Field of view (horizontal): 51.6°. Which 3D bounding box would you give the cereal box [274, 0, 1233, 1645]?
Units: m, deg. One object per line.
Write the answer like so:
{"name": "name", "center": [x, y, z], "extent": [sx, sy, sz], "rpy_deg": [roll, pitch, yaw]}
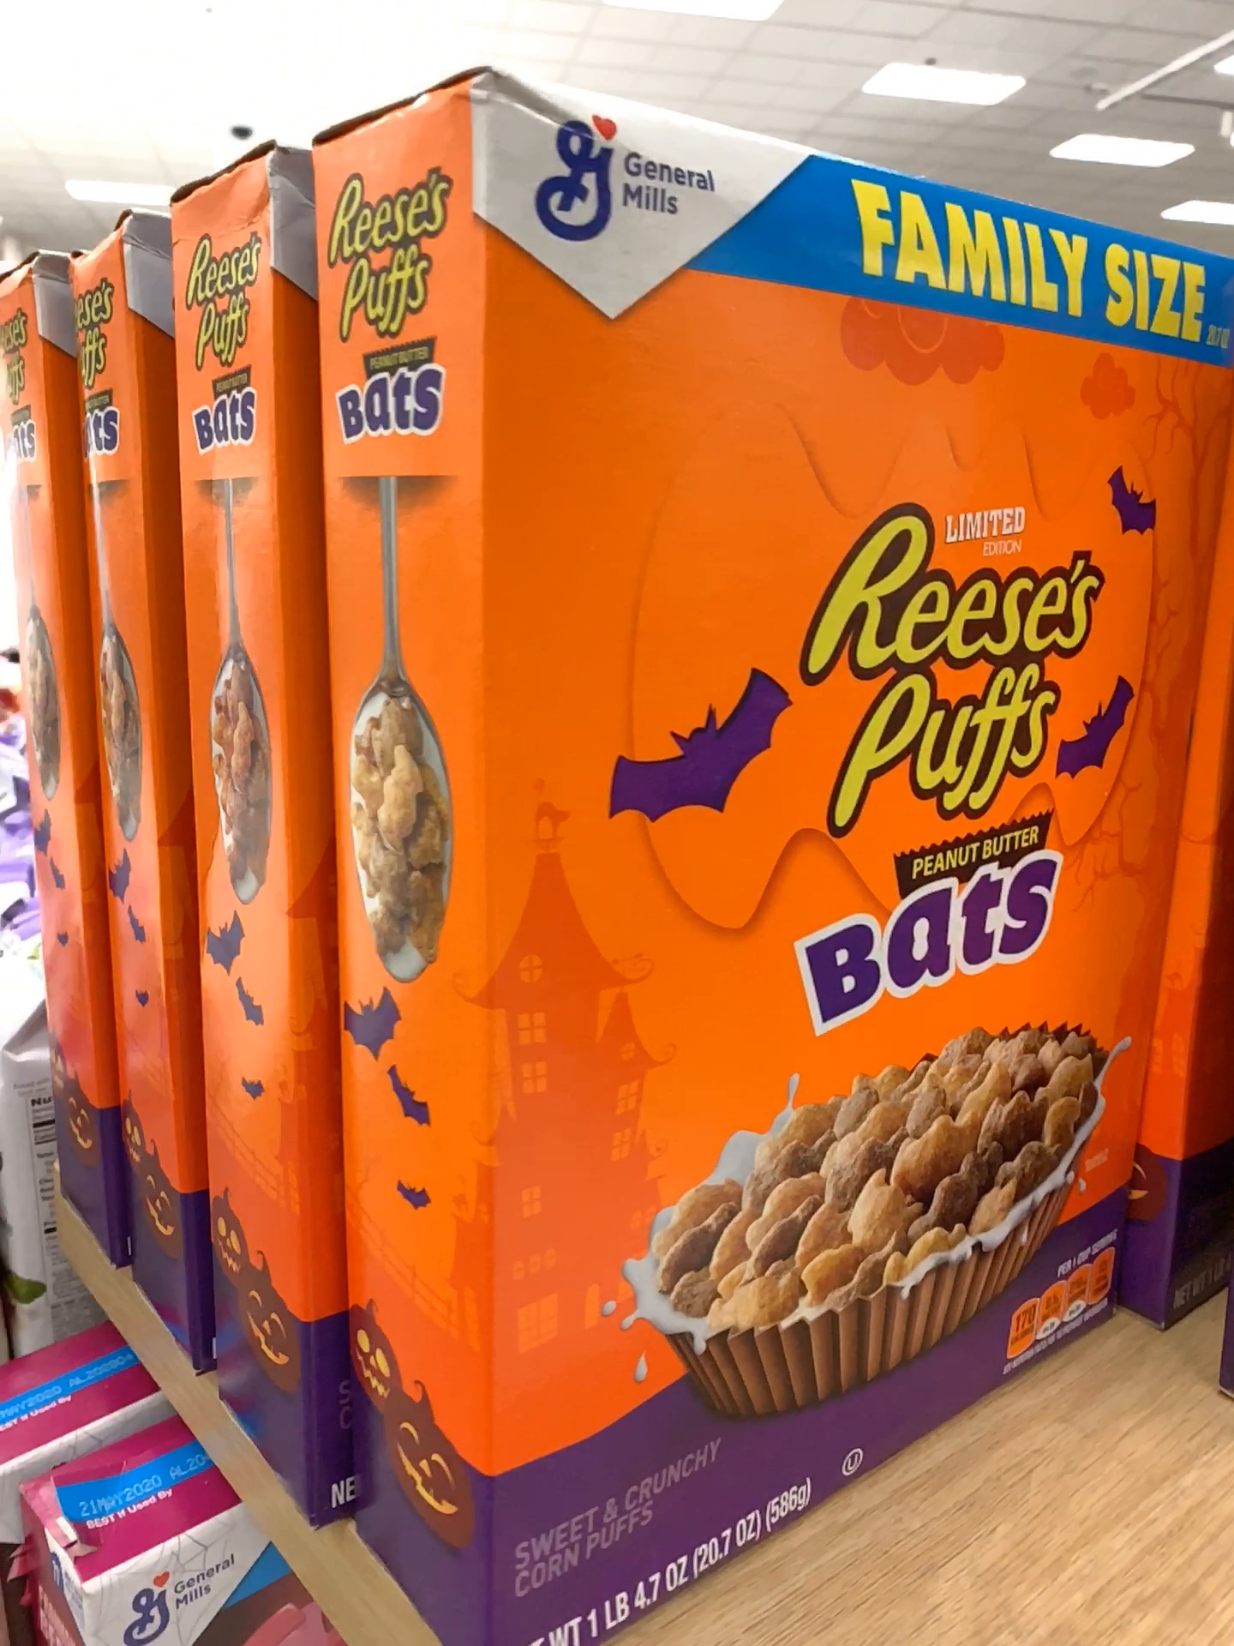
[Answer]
{"name": "cereal box", "center": [0.048, 0.006, 0.319], "extent": [0.240, 0.309, 0.070], "rpy_deg": [-9, 16, -38]}
